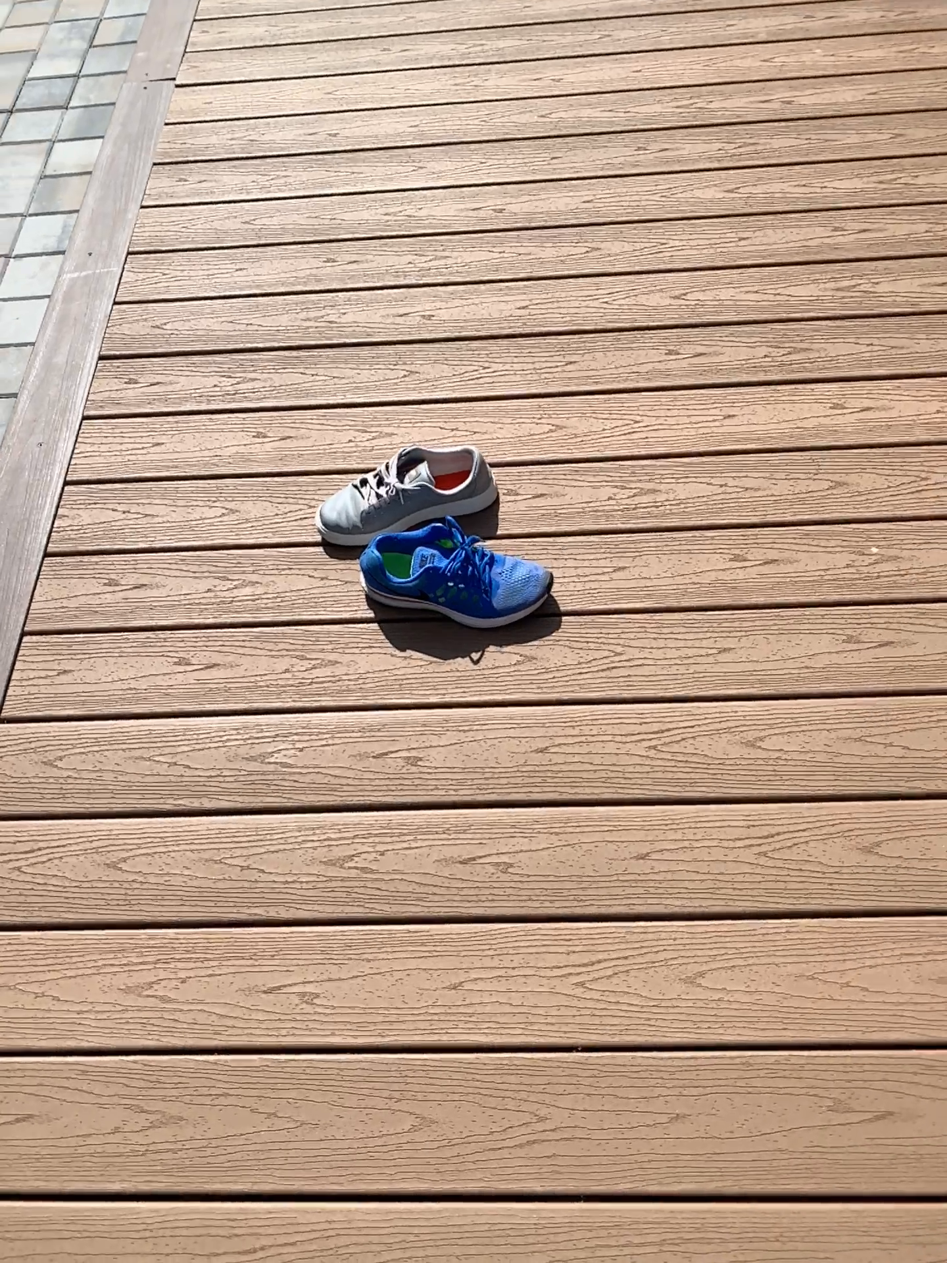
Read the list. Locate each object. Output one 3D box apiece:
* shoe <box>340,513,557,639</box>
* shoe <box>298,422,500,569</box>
[{"bbox_3d":[-0.030,-0.079,1.351,0.280,0.090,0.110,8,59,10],"label":"shoe"},{"bbox_3d":[-0.112,-0.209,1.480,0.280,0.110,0.110,-16,58,-5],"label":"shoe"}]
